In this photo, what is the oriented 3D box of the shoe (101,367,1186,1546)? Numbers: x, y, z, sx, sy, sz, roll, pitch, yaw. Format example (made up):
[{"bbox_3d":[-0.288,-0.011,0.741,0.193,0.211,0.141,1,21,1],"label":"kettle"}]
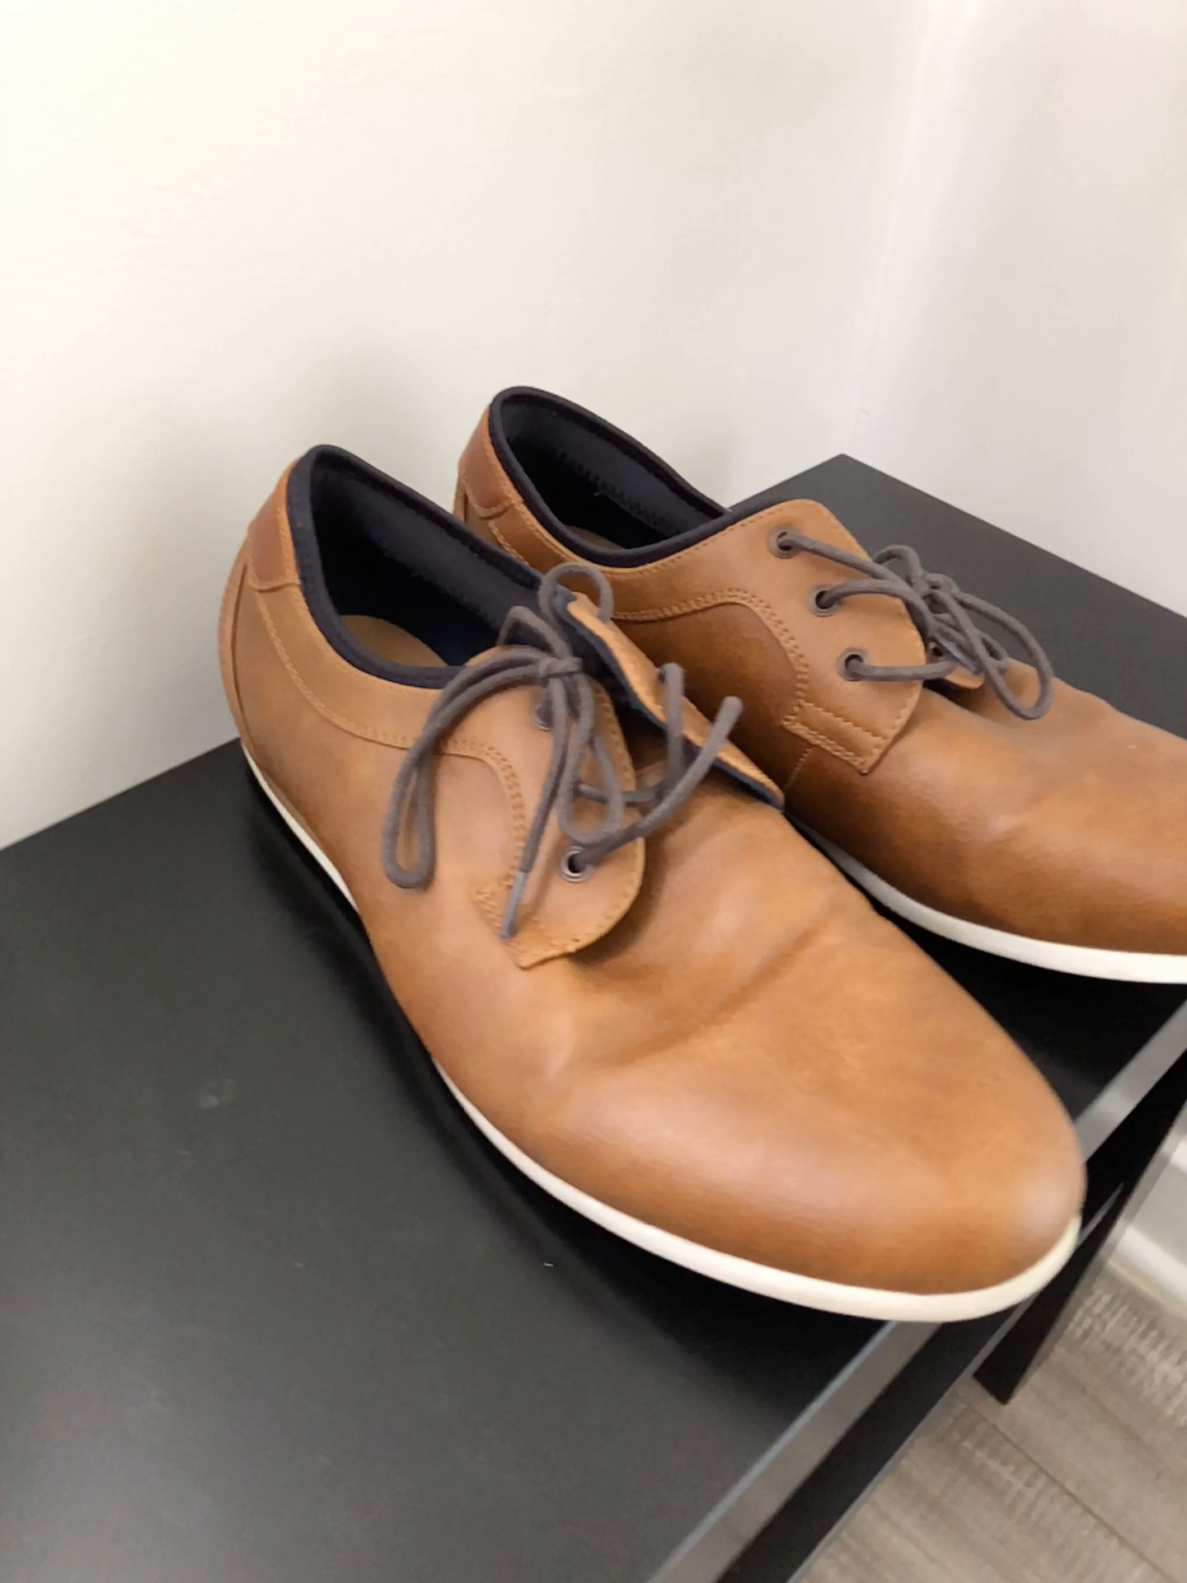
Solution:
[{"bbox_3d":[-0.002,0.007,0.310,0.104,0.100,0.271,-25,49,-30],"label":"shoe"}]

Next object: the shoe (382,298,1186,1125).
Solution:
[{"bbox_3d":[0.075,-0.044,0.387,0.281,0.100,0.104,30,47,27],"label":"shoe"}]
